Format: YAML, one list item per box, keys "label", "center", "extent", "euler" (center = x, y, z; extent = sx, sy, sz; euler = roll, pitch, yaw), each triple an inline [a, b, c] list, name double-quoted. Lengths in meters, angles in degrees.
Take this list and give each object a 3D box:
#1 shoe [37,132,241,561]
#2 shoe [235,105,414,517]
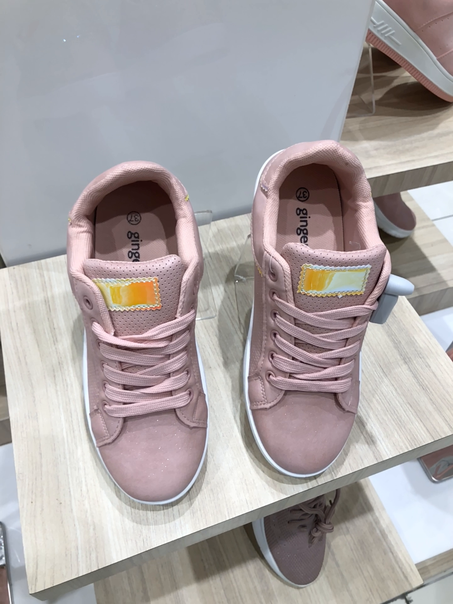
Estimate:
- label: "shoe"
  center: [-0.056, 0.024, 0.350]
  extent: [0.103, 0.094, 0.252]
  euler: [-4, 91, -6]
- label: "shoe"
  center: [0.065, 0.006, 0.370]
  extent: [0.099, 0.094, 0.261]
  euler: [3, 89, -4]
